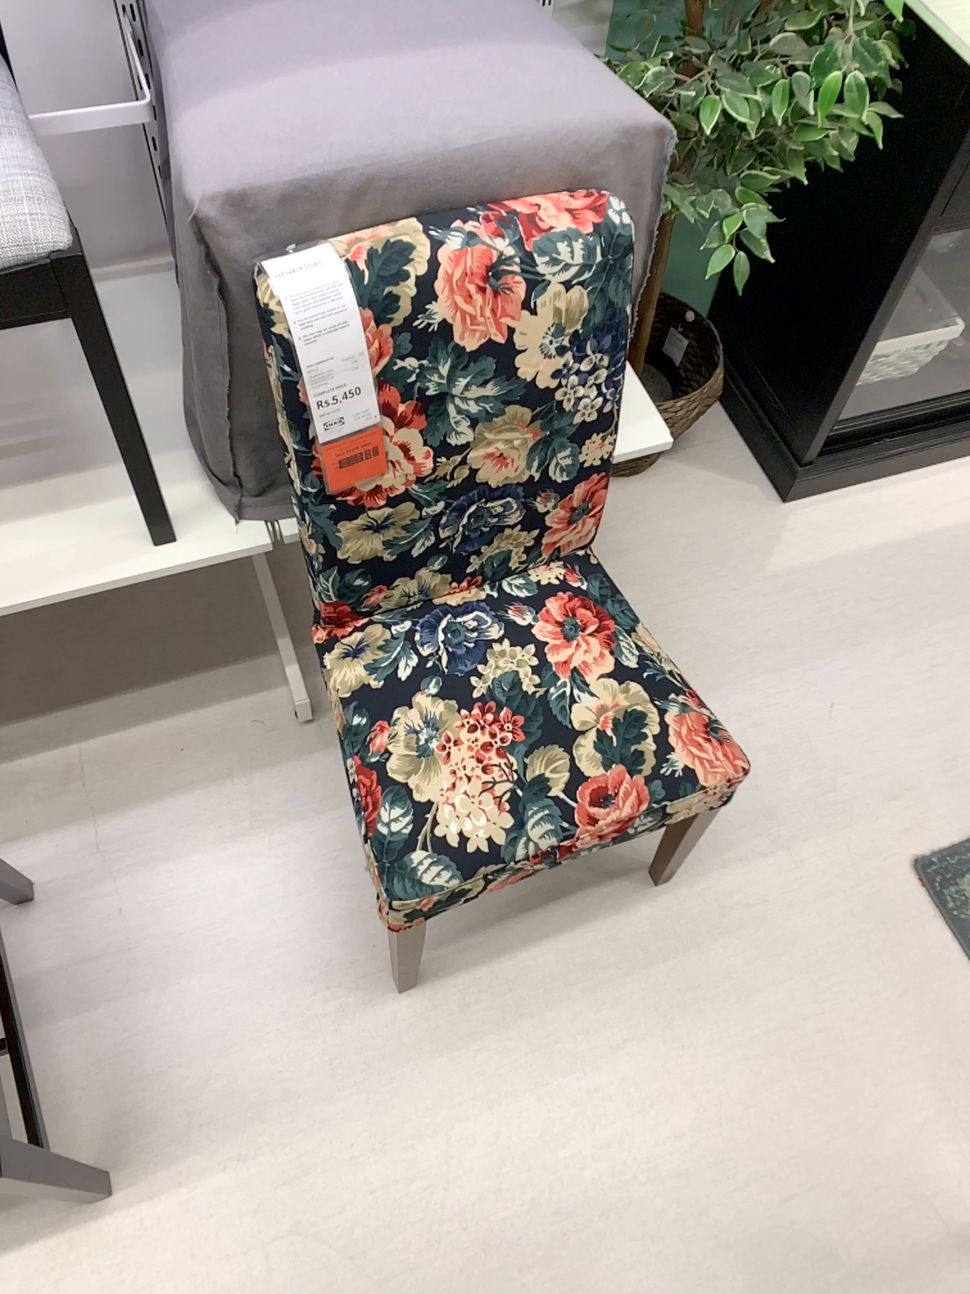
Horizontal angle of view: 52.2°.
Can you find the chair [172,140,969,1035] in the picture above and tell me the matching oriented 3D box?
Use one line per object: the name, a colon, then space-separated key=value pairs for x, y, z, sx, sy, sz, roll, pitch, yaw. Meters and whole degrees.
chair: x=0.041 y=0.004 z=1.237 sx=0.560 sy=0.888 sz=0.601 roll=-16 pitch=61 yaw=-14
